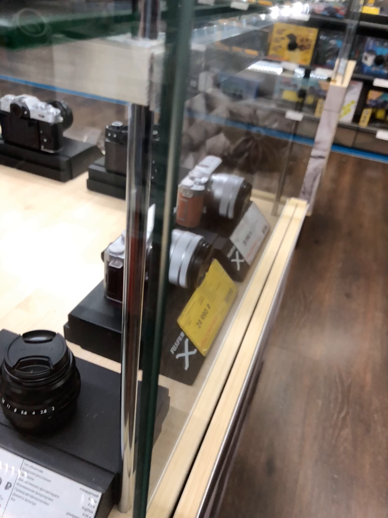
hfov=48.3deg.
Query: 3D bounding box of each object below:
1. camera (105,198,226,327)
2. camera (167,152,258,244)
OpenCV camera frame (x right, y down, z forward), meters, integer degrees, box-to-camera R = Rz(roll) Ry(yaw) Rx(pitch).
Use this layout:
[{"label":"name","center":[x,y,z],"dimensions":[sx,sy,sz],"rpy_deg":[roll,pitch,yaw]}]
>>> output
[{"label":"camera","center":[-0.029,-0.001,0.486],"dimensions":[0.088,0.072,0.121],"rpy_deg":[17,35,14]},{"label":"camera","center":[0.029,-0.094,0.641],"dimensions":[0.088,0.072,0.129],"rpy_deg":[17,35,14]}]
